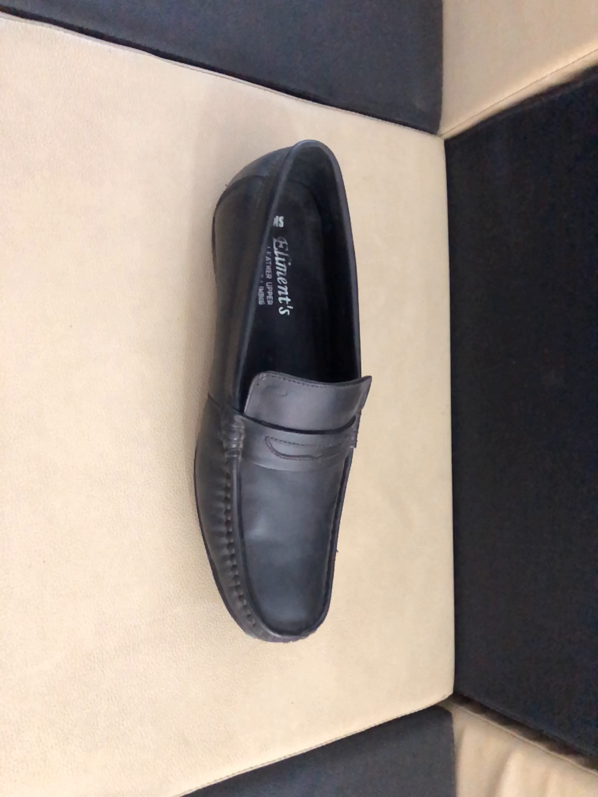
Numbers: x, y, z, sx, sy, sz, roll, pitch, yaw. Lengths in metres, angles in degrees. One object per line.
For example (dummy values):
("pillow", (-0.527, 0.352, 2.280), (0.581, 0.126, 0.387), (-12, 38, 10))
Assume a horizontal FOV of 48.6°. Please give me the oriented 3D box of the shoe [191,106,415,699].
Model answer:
("shoe", (0.002, 0.002, 0.384), (0.101, 0.080, 0.290), (2, 87, -32))
